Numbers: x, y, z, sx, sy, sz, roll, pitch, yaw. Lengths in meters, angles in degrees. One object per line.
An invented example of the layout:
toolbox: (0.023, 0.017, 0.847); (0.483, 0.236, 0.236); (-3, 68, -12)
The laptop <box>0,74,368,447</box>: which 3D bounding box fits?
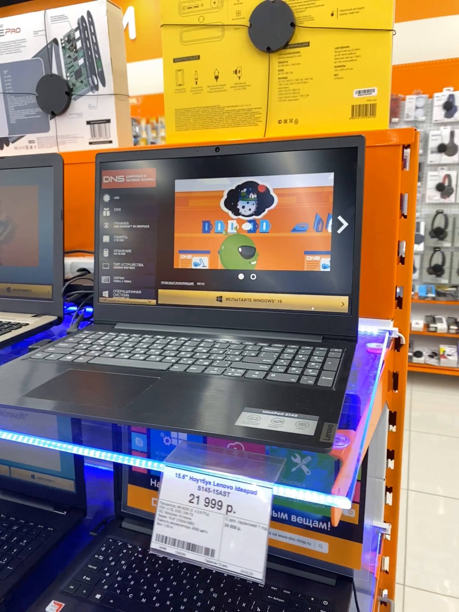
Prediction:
laptop: (-0.055, -0.058, 0.489); (0.359, 0.233, 0.298); (2, 13, 19)
